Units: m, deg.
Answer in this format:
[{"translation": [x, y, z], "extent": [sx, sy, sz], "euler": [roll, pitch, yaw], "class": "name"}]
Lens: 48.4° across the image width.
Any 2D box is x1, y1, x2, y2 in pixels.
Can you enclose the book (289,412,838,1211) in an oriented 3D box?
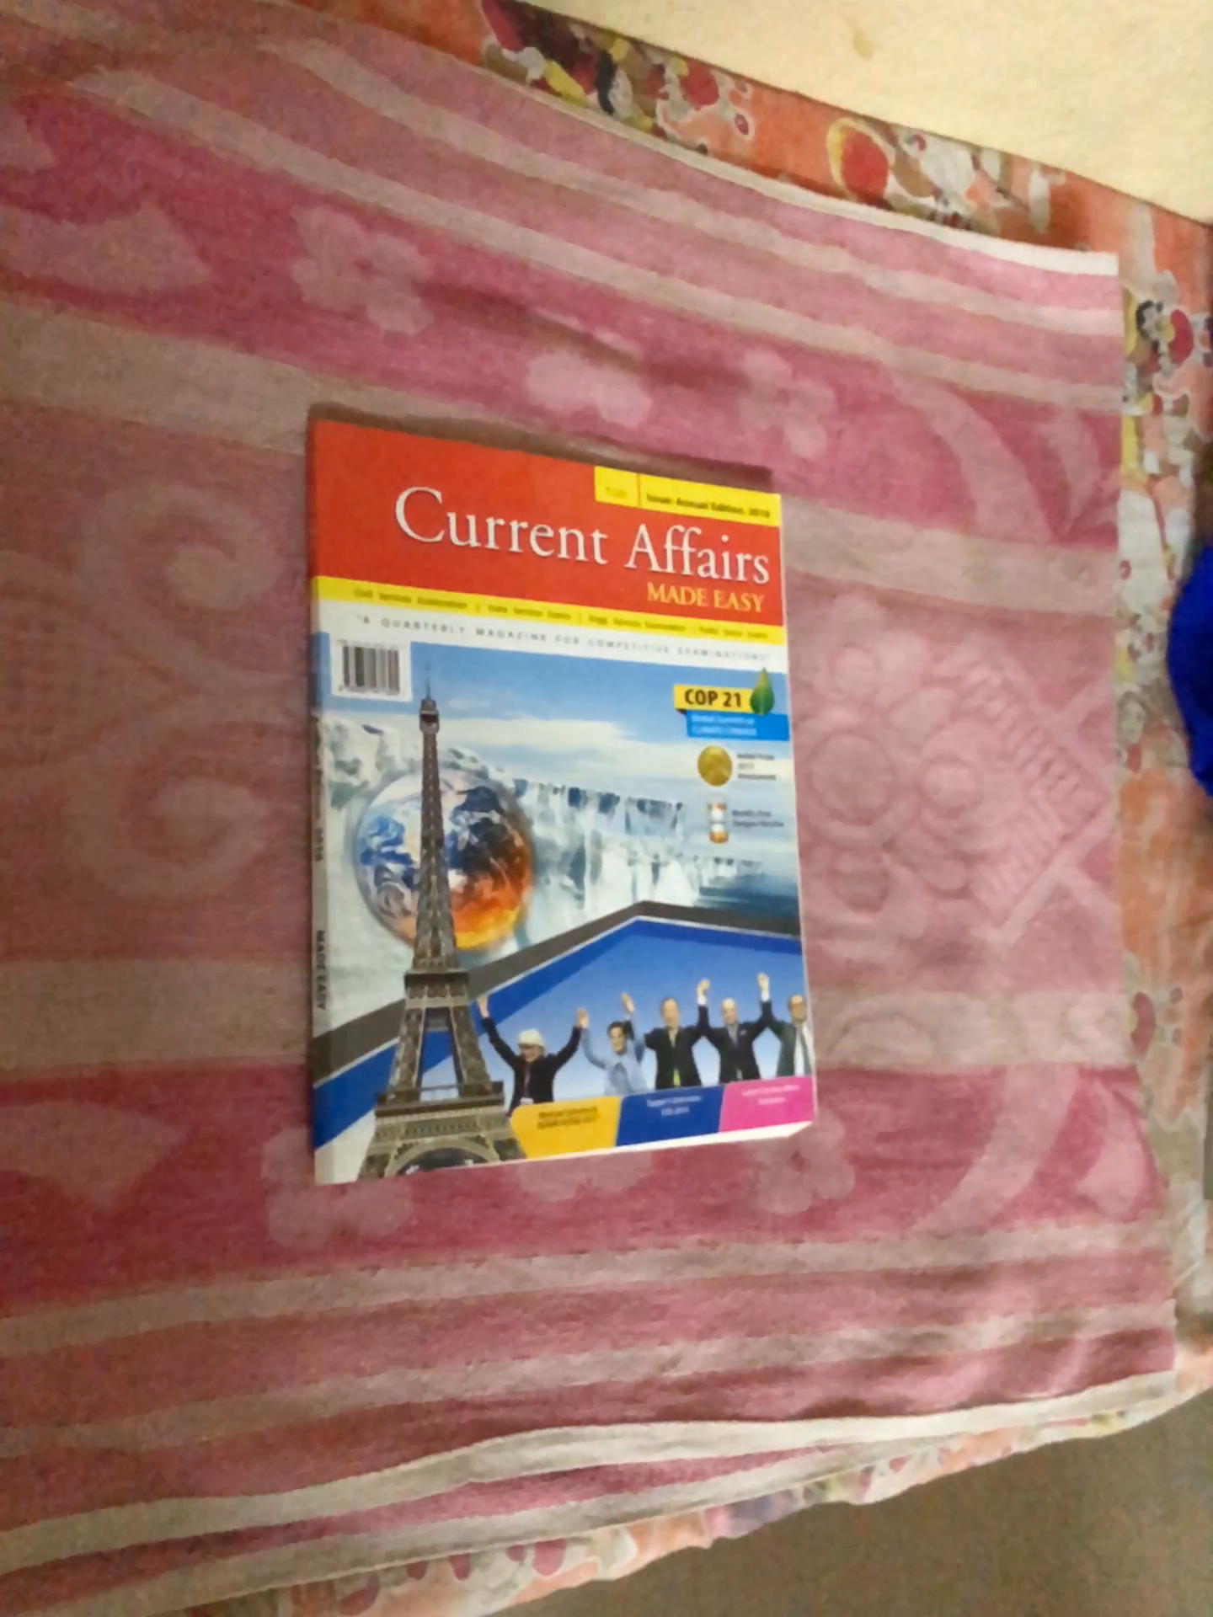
[{"translation": [-0.012, -0.001, 0.512], "extent": [0.205, 0.025, 0.270], "euler": [1, 81, -29], "class": "book"}]
